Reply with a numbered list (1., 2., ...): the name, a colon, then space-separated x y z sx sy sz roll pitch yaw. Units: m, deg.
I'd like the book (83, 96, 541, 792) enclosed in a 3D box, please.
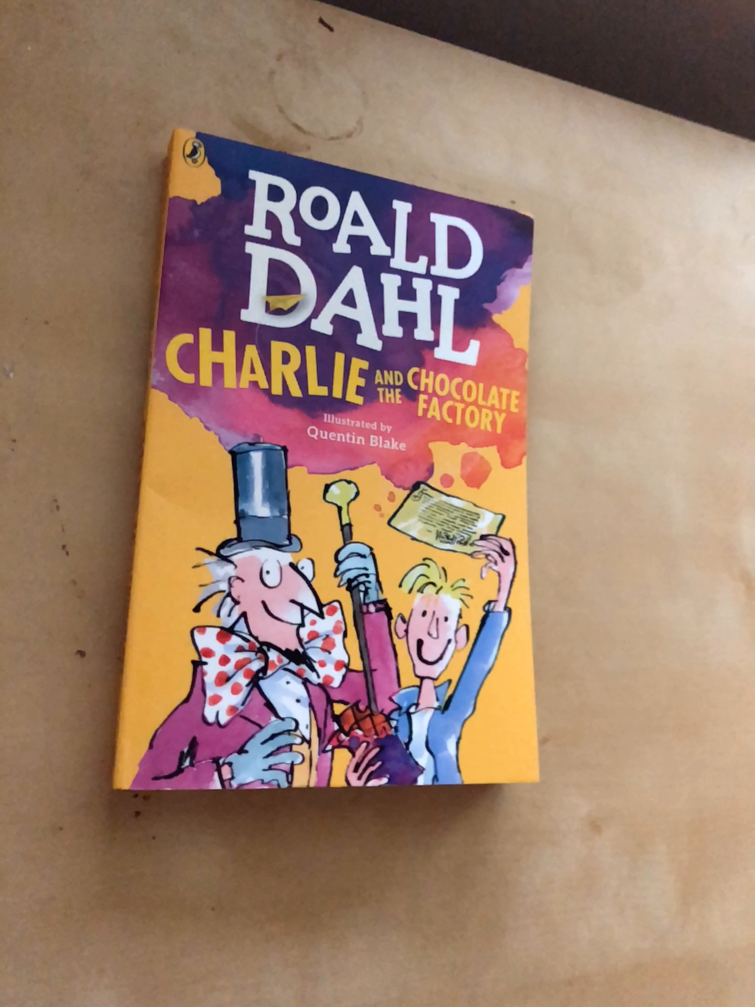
1. book: -0.016 -0.015 0.276 0.135 0.040 0.201 6 78 -21
